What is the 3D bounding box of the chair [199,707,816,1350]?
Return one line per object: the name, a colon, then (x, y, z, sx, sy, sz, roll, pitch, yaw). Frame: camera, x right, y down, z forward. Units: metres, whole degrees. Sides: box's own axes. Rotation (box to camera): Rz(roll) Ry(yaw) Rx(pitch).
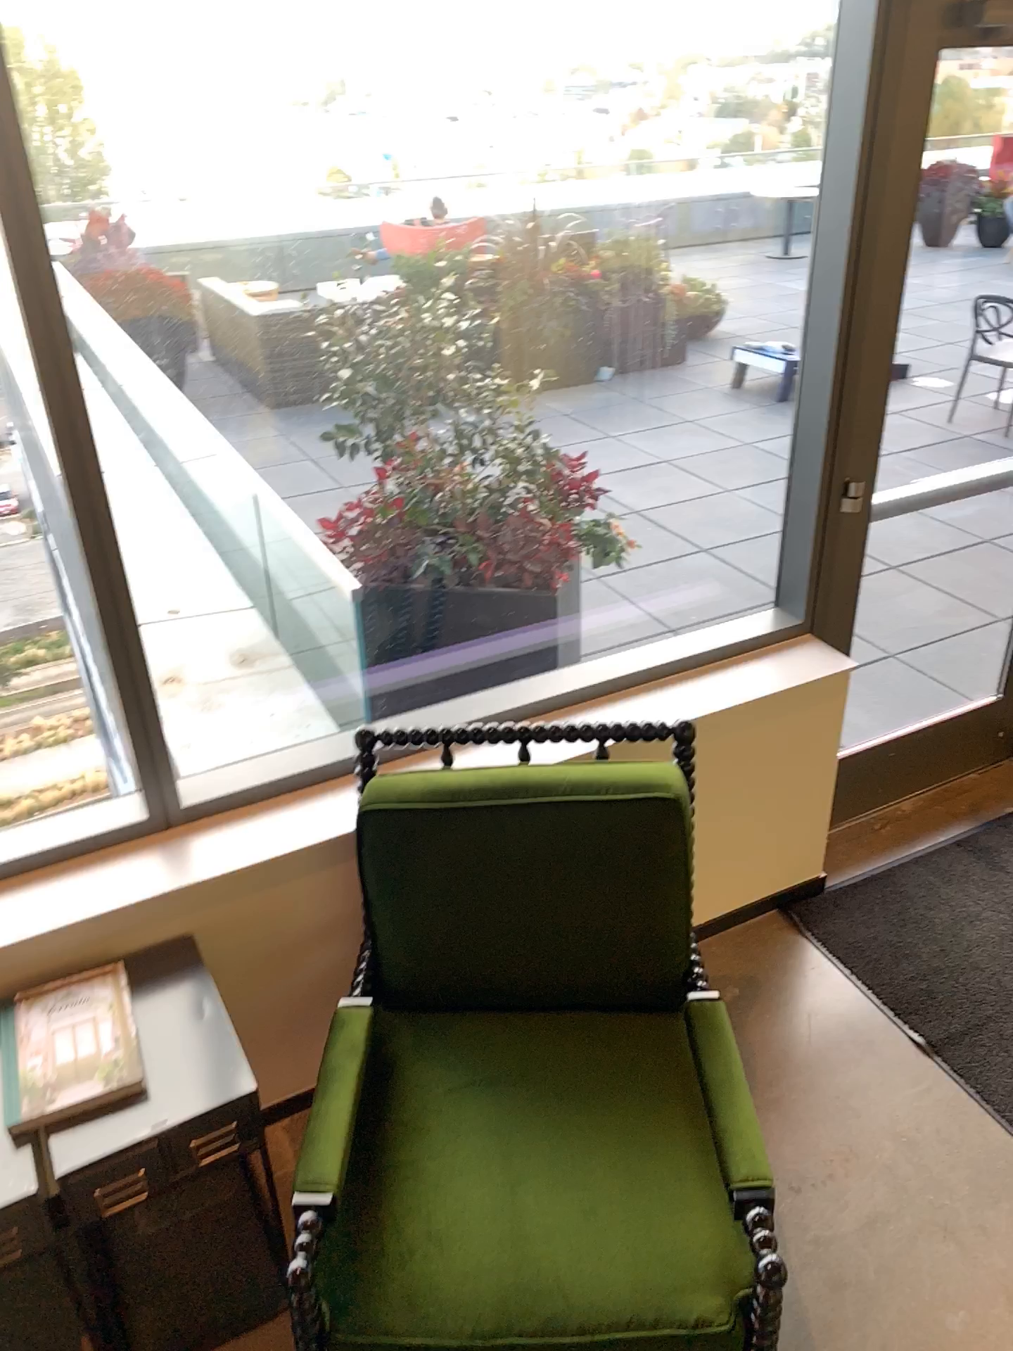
chair: (0.023, 0.730, 1.916, 0.760, 0.984, 0.926, -1, 30, 2)
